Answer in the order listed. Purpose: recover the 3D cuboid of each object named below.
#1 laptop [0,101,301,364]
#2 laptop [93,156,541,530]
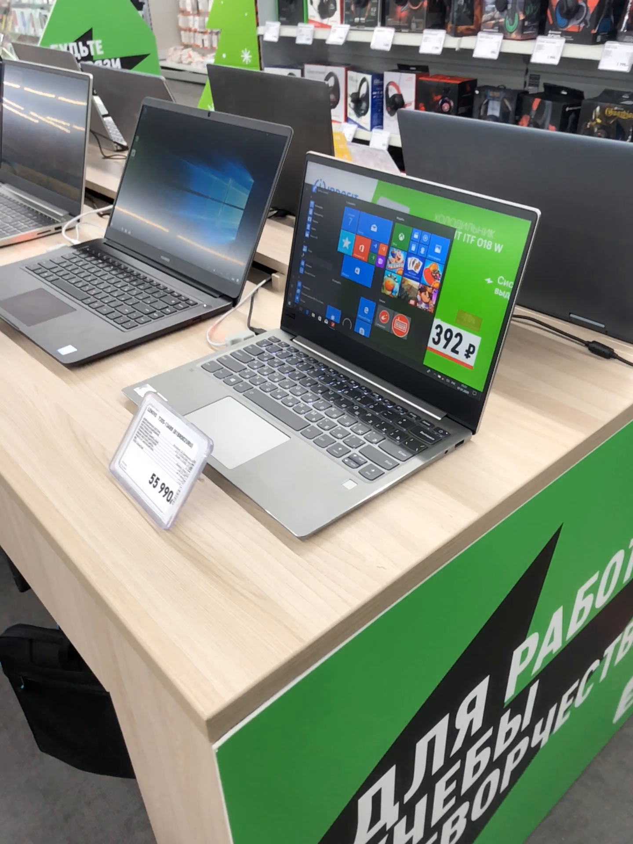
[{"bbox_3d":[-0.265,-0.281,0.926,0.340,0.188,0.345,-29,42,-33],"label":"laptop"},{"bbox_3d":[-0.005,-0.103,0.649,0.262,0.187,0.286,-27,41,-31],"label":"laptop"}]
